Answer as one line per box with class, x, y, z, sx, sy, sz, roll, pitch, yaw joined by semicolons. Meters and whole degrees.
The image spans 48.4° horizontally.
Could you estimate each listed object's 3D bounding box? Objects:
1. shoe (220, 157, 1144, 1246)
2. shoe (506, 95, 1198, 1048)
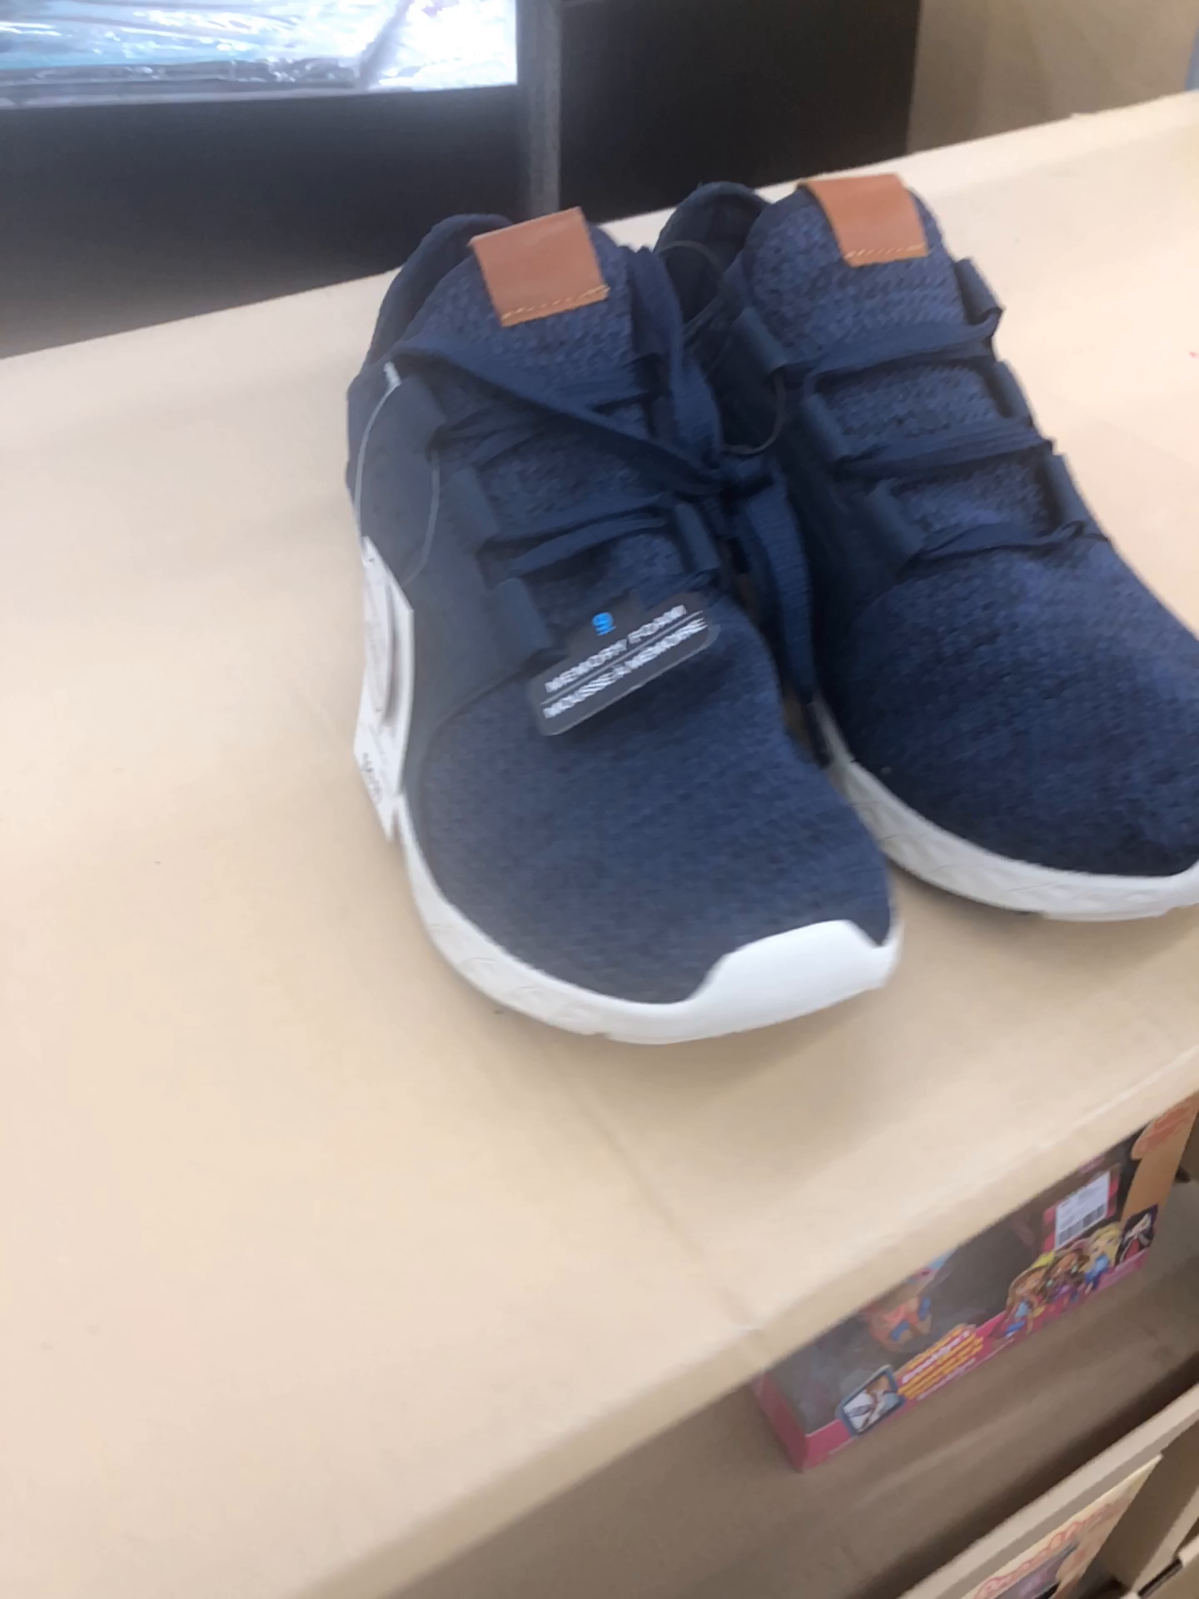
shoe;-0.011;-0.058;0.352;0.110;0.129;0.291;-14;41;-15
shoe;0.088;-0.092;0.367;0.110;0.120;0.291;-19;43;-20
